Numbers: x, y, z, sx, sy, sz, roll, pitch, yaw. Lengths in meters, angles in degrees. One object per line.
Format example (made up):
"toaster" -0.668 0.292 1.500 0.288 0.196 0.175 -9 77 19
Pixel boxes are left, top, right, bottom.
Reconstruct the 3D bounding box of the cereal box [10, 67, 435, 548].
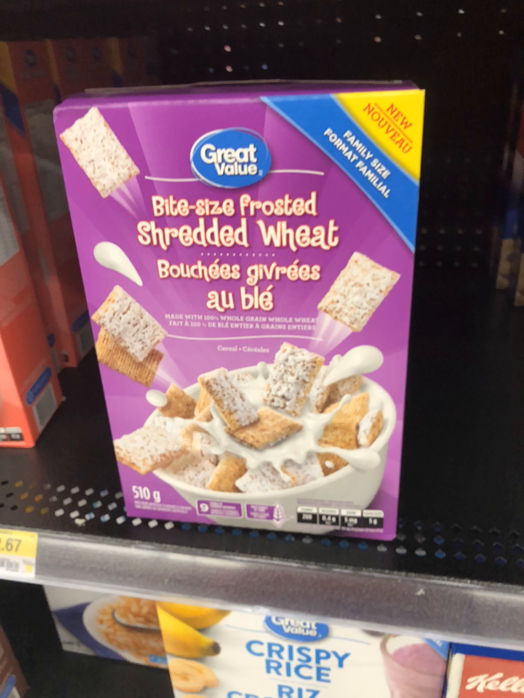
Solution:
"cereal box" -0.013 -0.018 0.371 0.210 0.279 0.070 3 26 11
